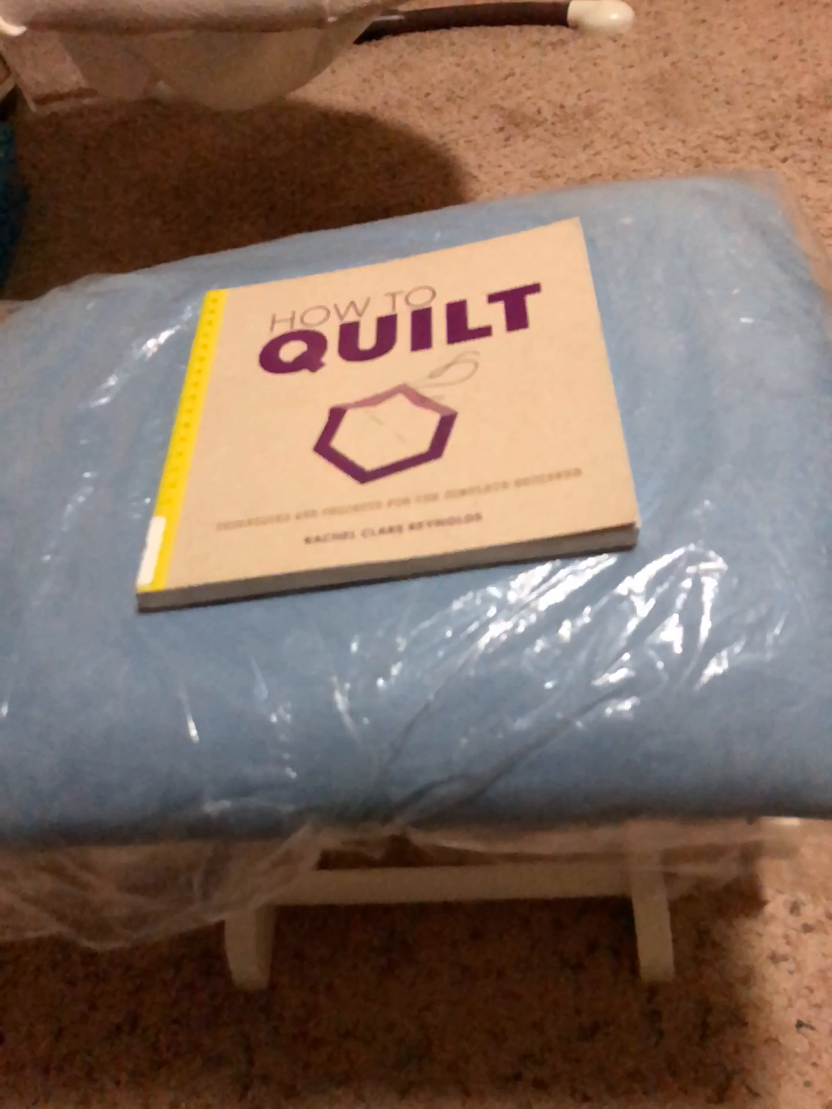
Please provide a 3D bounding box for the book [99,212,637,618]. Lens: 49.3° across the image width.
[{"bbox_3d":[-0.021,-0.070,0.406,0.208,0.020,0.194,-8,52,10],"label":"book"}]
